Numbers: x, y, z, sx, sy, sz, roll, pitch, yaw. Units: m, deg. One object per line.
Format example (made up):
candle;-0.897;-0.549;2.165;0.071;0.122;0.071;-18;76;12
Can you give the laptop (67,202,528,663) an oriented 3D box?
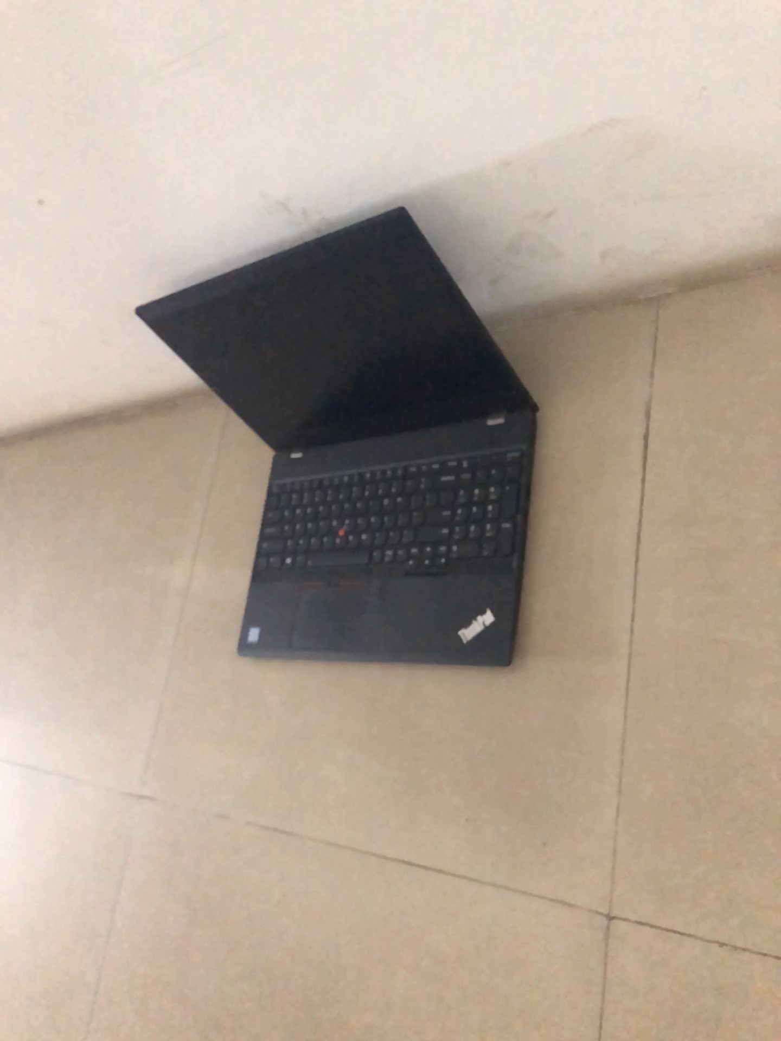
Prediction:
laptop;-0.087;-0.052;0.836;0.352;0.215;0.327;-5;70;39
